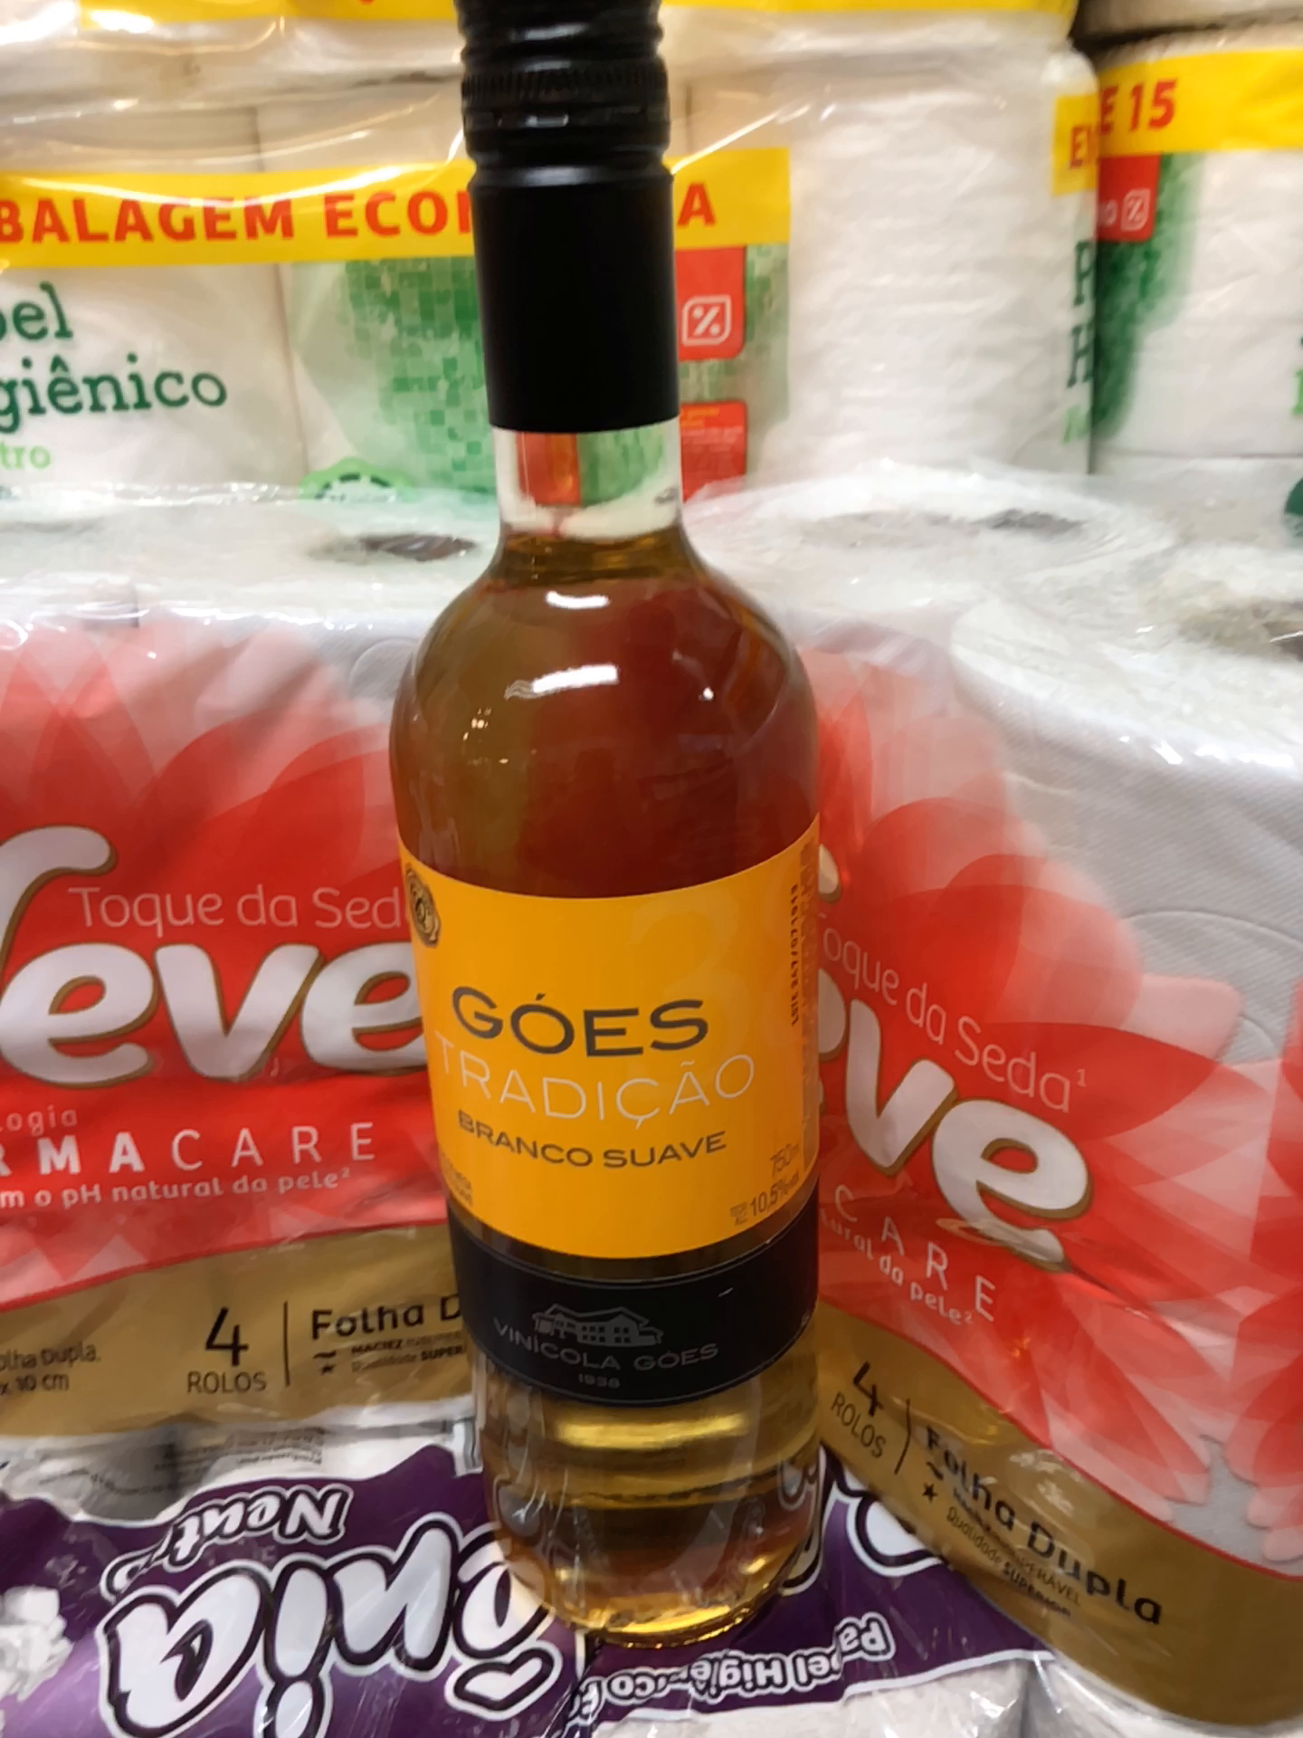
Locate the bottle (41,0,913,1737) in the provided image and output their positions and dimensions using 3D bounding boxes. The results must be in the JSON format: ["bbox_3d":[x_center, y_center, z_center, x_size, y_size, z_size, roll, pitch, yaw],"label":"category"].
[{"bbox_3d":[-0.006,0.013,0.271,0.090,0.318,0.091,-4,26,2],"label":"bottle"}]
